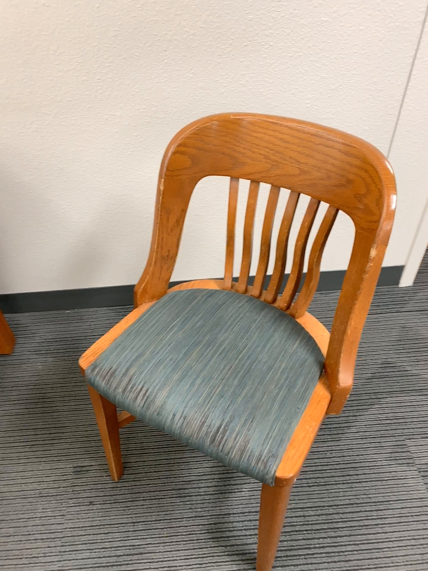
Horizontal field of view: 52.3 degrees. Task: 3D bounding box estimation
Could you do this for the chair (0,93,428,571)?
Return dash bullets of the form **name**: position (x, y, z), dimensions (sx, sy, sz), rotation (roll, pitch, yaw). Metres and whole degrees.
- **chair**: position (0.023, 0.109, 0.959), dimensions (0.551, 0.747, 0.622), rotation (21, 48, 23)
